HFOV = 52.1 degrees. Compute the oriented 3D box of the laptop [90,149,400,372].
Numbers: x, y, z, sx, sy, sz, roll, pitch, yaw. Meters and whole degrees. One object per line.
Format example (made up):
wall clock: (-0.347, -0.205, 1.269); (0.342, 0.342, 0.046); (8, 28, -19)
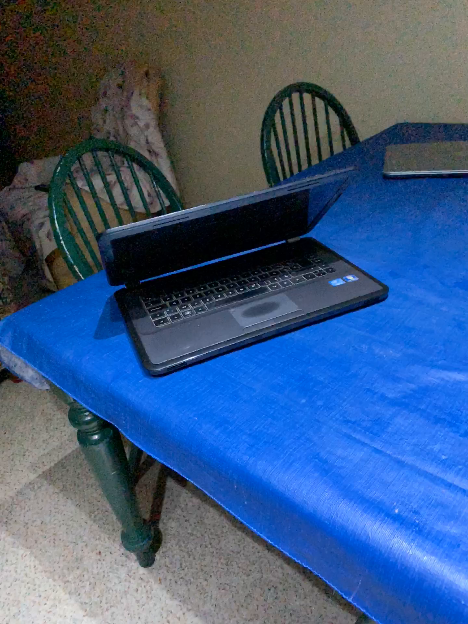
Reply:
laptop: (0.008, -0.101, 0.693); (0.361, 0.160, 0.245); (-17, 31, -16)
